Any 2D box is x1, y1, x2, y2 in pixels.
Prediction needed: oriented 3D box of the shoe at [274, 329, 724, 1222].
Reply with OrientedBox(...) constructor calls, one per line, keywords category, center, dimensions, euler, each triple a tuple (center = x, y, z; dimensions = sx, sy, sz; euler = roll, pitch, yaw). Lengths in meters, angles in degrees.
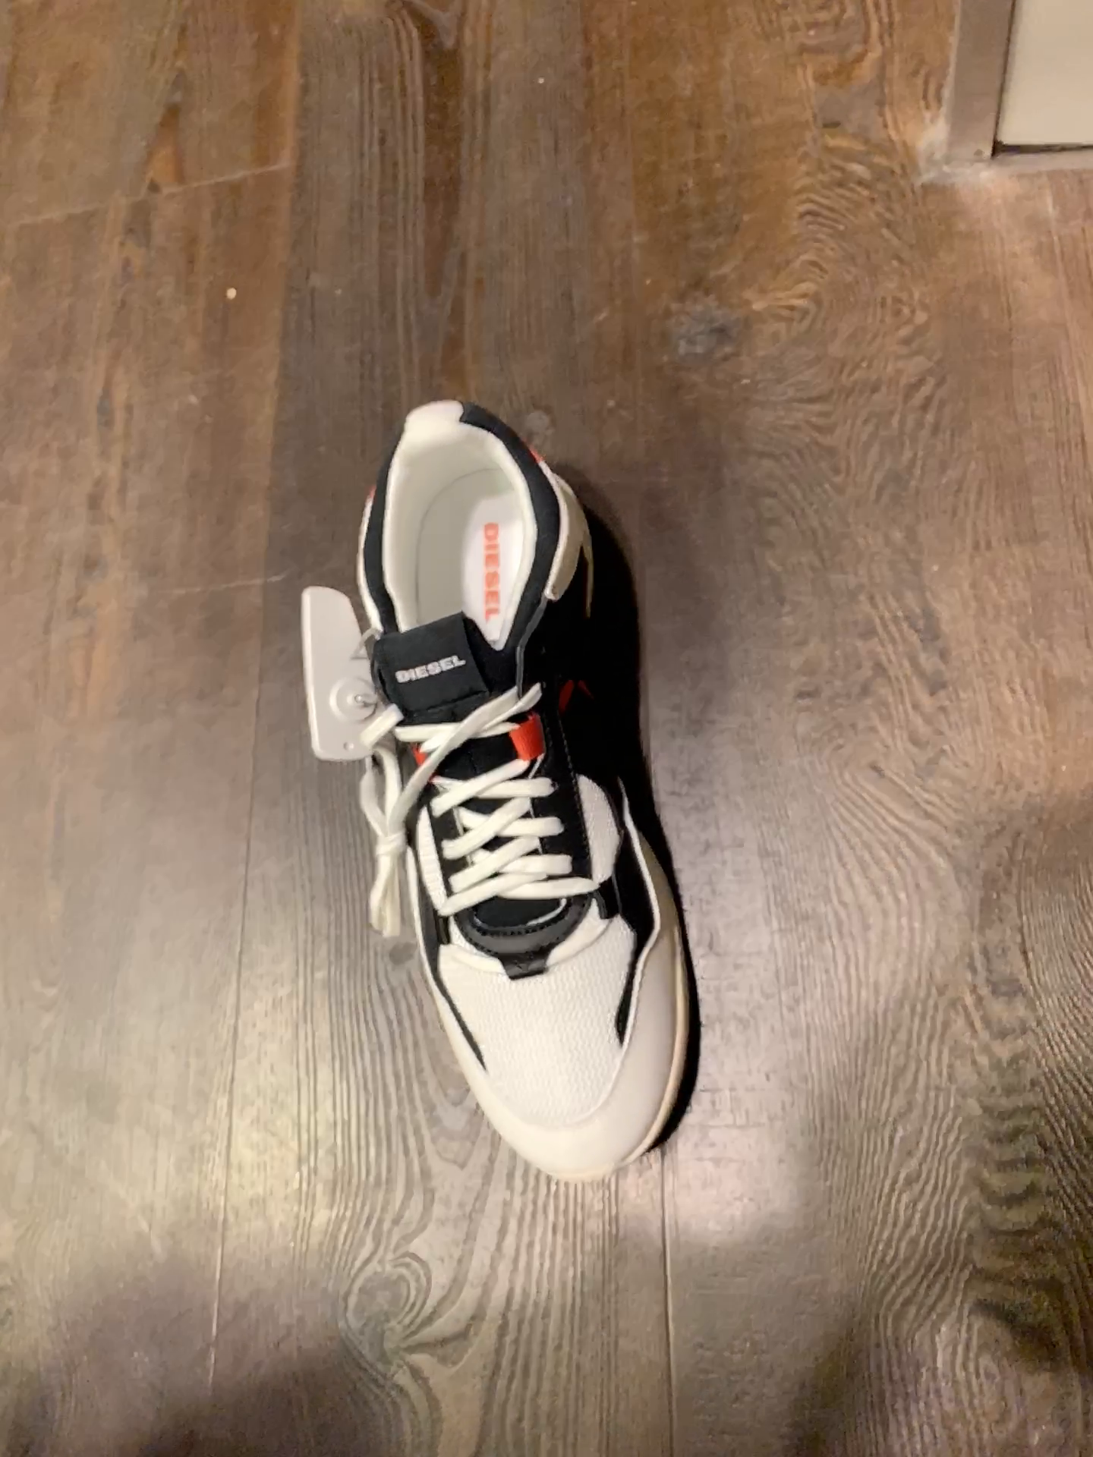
OrientedBox(category="shoe", center=(-0.020, 0.016, 0.441), dimensions=(0.110, 0.110, 0.301), euler=(-13, 71, 12))
